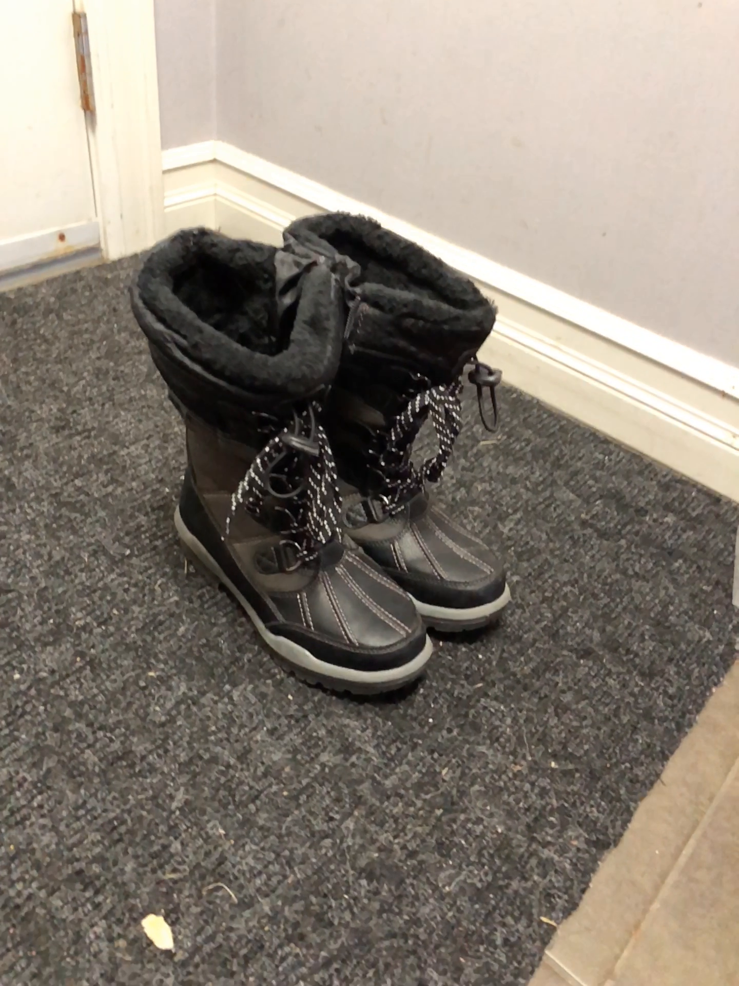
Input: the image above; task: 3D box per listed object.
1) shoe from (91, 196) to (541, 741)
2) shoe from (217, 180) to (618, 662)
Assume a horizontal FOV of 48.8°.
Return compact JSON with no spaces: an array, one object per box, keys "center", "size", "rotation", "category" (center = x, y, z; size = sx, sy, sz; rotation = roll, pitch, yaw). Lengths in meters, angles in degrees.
[{"center":[-0.052,-0.020,0.565],"size":[0.260,0.269,0.110],"rotation":[32,45,27],"category":"shoe"},{"center":[0.012,-0.057,0.628],"size":[0.260,0.269,0.100],"rotation":[30,44,25],"category":"shoe"}]
